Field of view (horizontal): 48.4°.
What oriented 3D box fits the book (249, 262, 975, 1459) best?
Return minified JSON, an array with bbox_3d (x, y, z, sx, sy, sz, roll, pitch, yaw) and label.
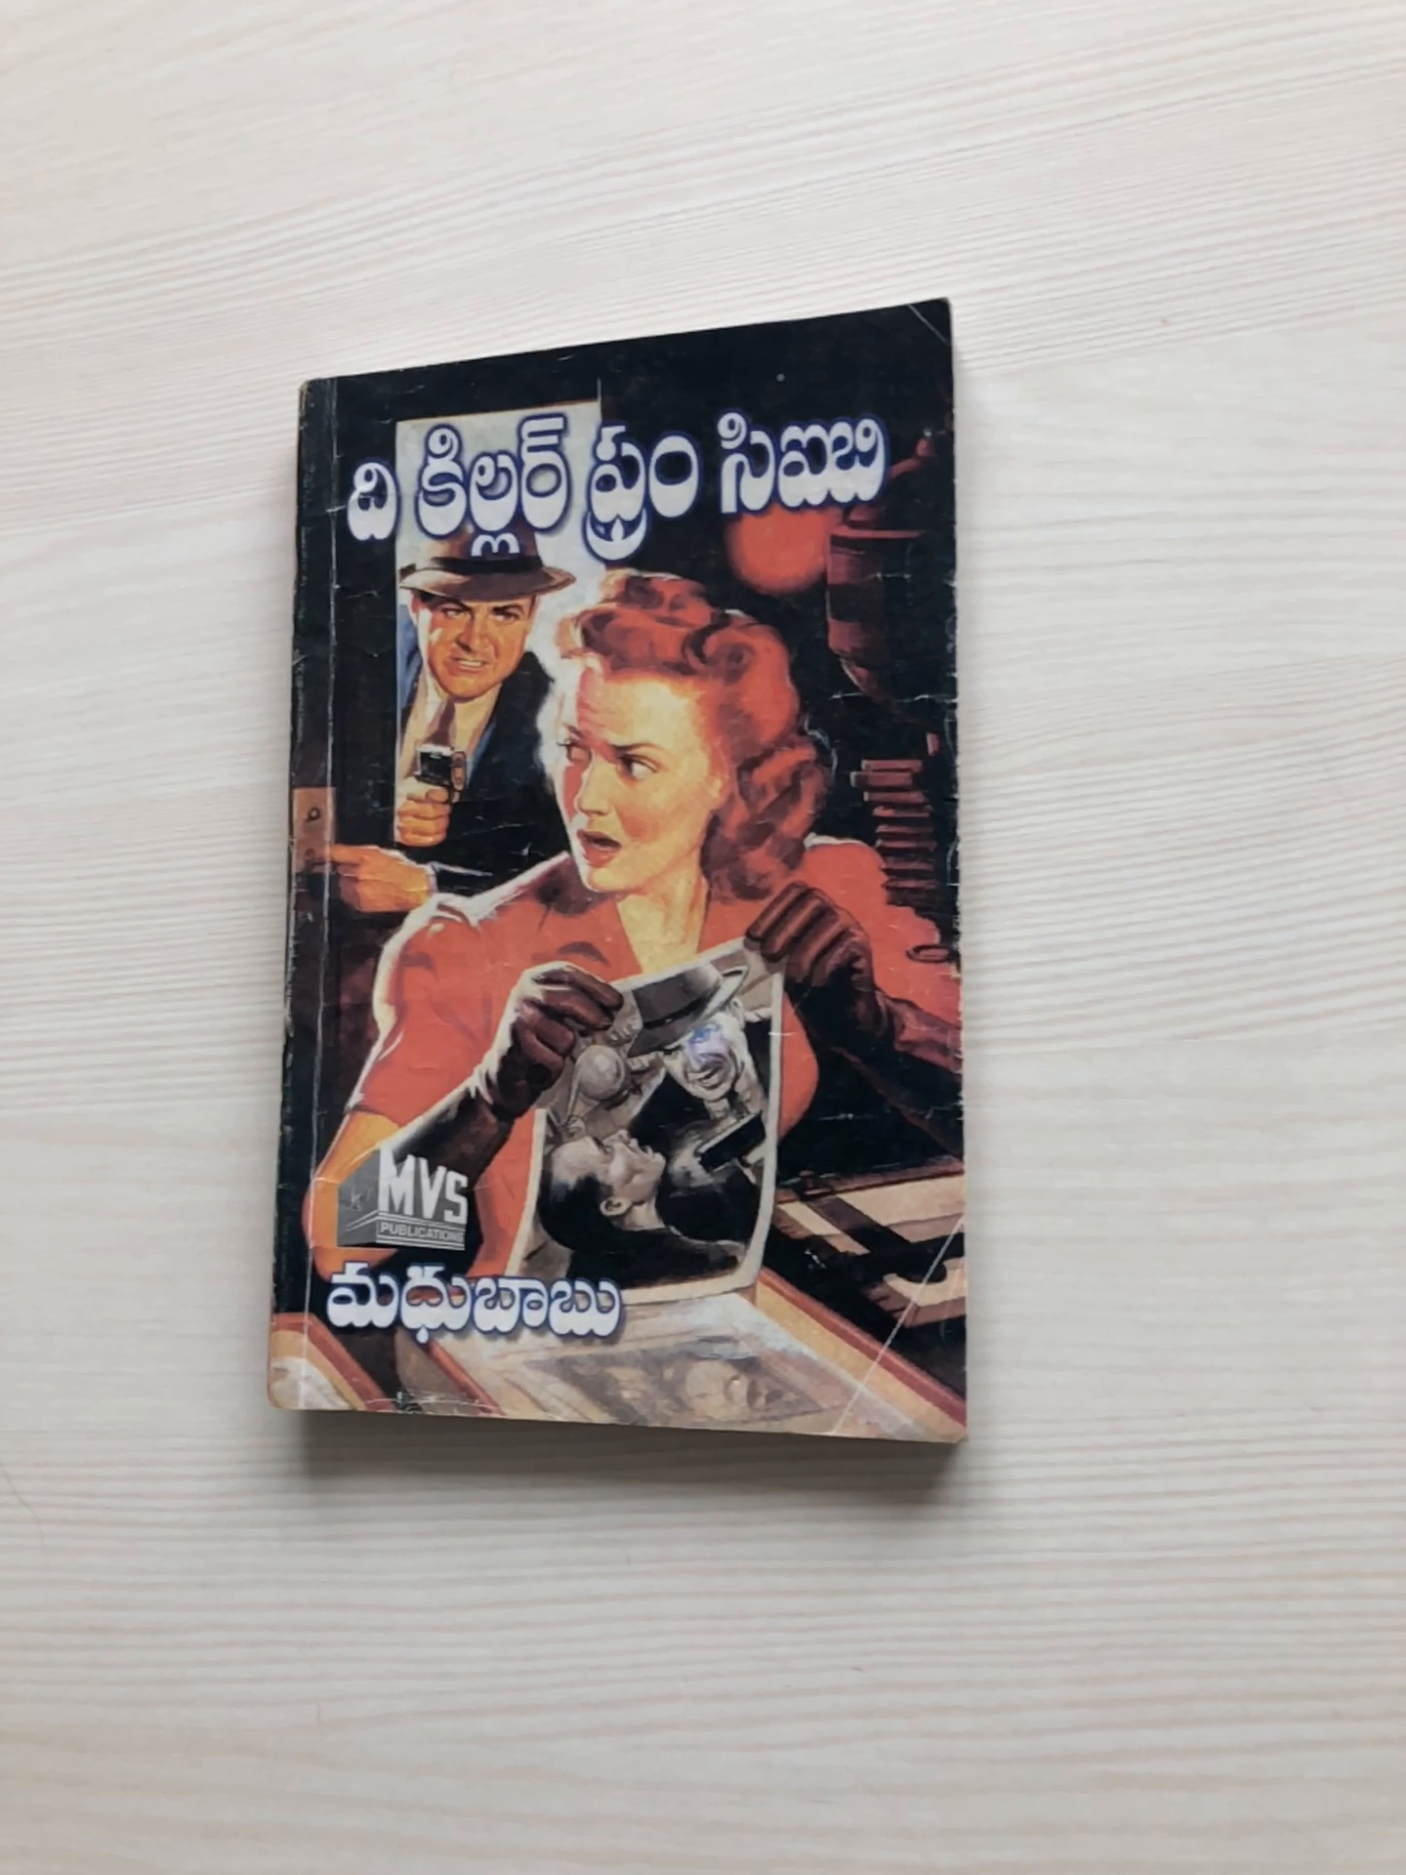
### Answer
[{"bbox_3d":[-0.014,-0.012,0.224,0.100,0.012,0.160,-2,83,13],"label":"book"}]
